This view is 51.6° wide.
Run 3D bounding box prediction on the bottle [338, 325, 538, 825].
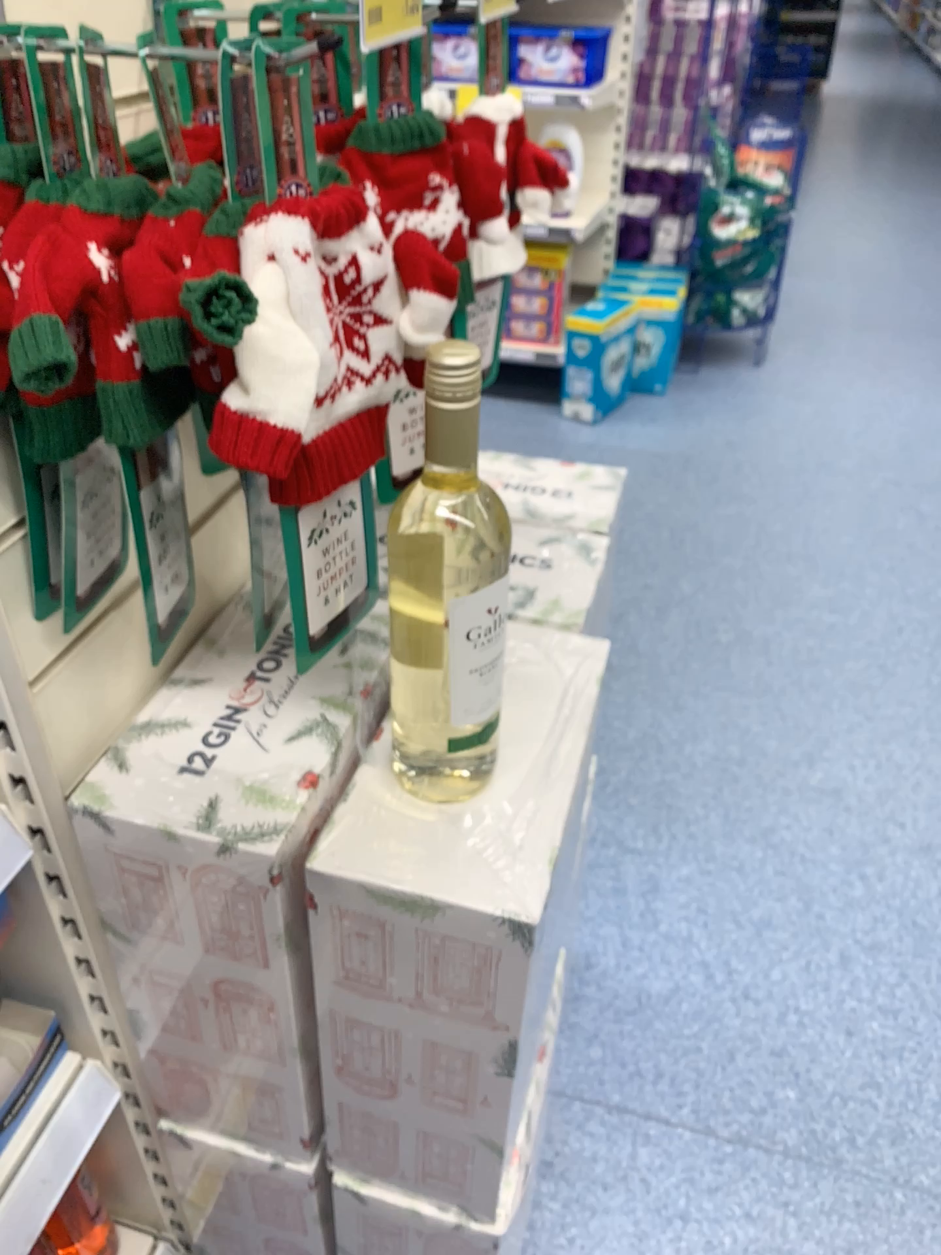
[{"bbox_3d":[-0.018,-0.021,0.580,0.073,0.285,0.073,0,35,0],"label":"bottle"}]
